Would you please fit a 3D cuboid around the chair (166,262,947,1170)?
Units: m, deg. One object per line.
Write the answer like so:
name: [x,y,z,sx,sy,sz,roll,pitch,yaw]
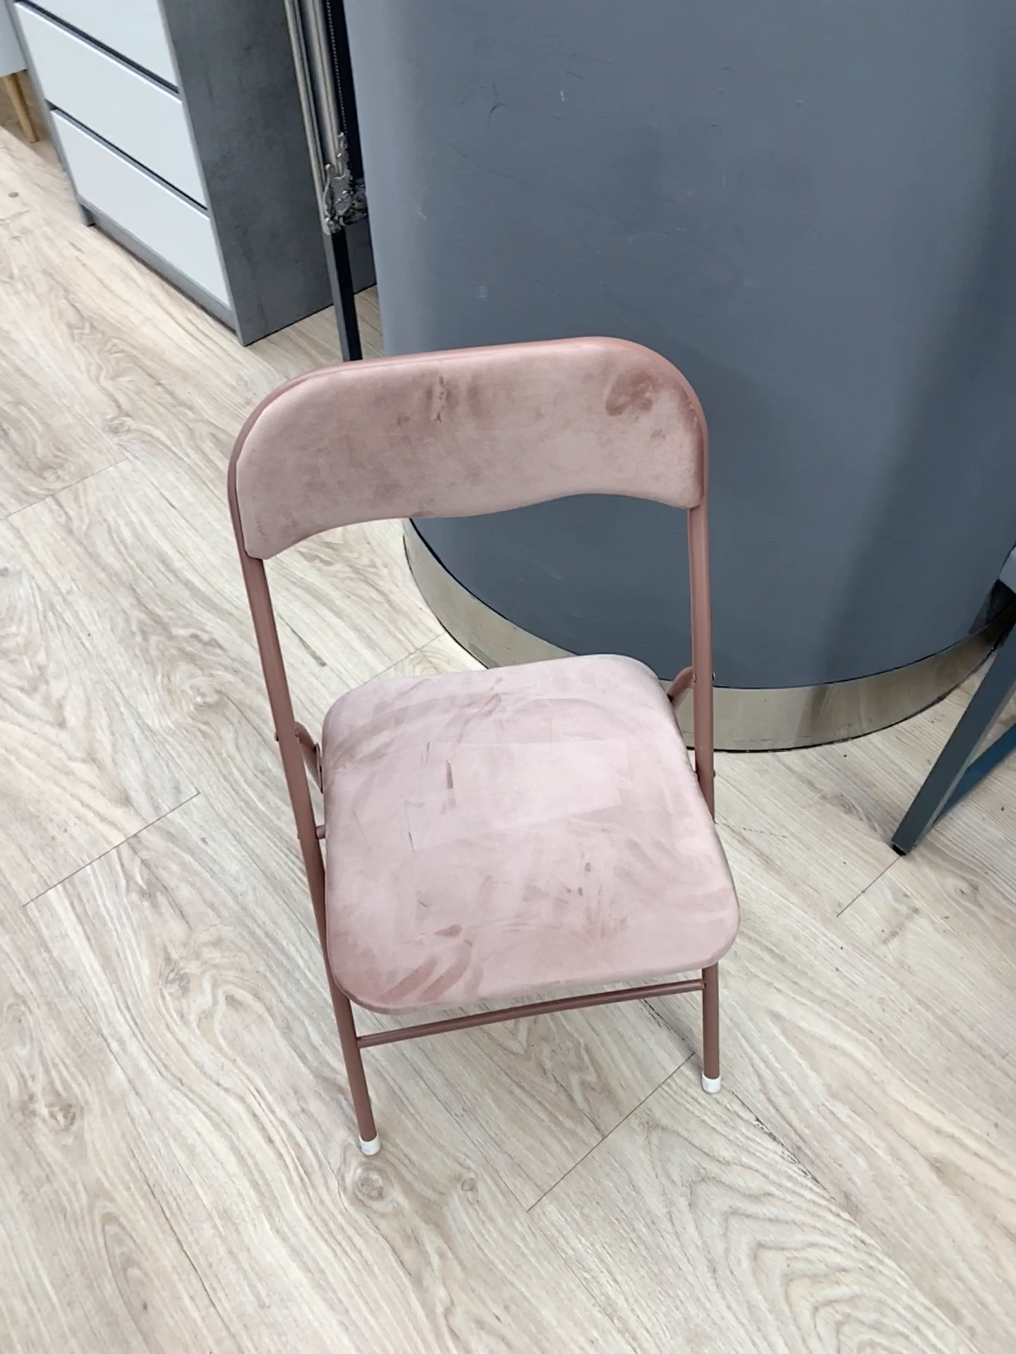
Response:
chair: [-0.007,0.102,1.055,0.460,0.797,0.482,-10,53,-7]
